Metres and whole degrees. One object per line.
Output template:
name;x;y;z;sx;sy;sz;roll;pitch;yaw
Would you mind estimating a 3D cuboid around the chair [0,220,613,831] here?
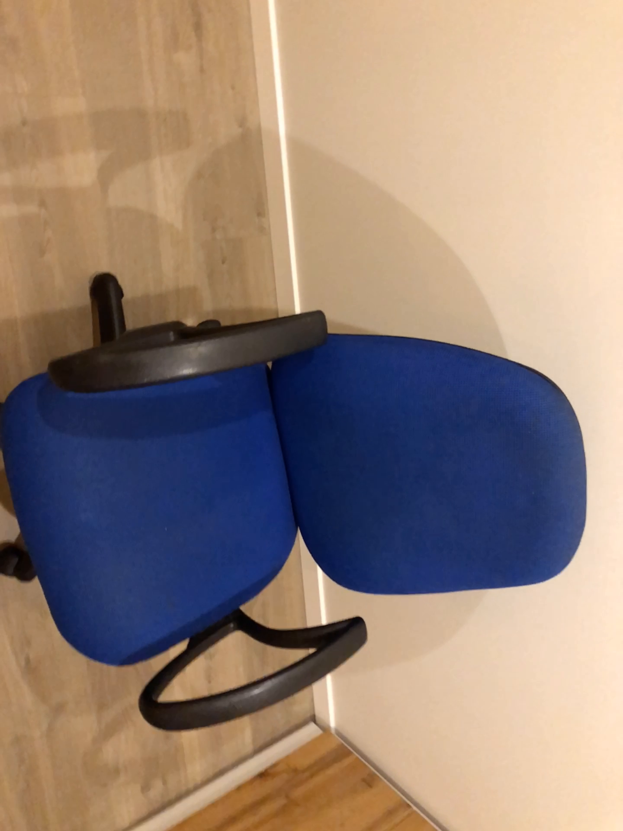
chair;-0.131;0.117;1.123;0.702;0.906;0.696;-23;113;-31
